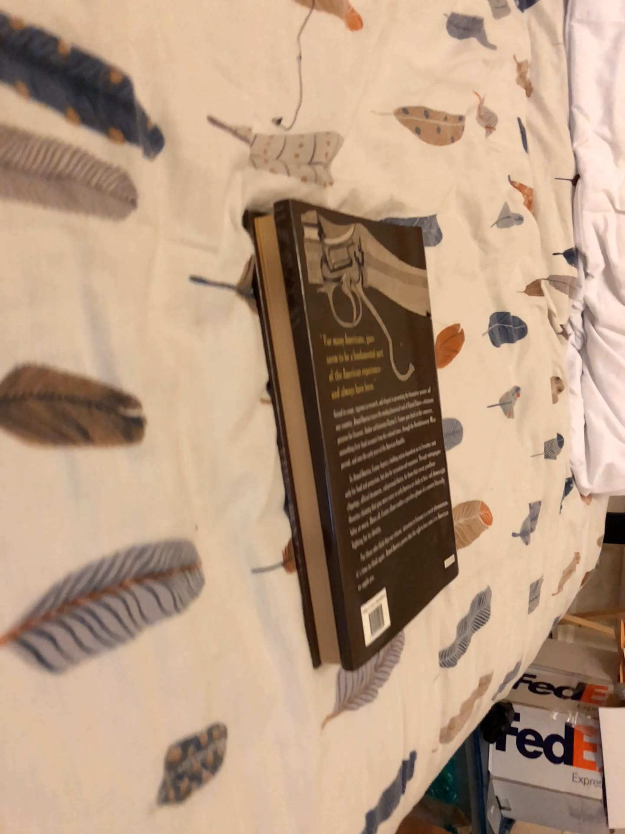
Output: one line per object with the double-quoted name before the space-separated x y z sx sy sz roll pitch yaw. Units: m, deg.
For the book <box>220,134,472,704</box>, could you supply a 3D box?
"book" 0.033 -0.006 0.371 0.181 0.030 0.240 -14 99 -57
